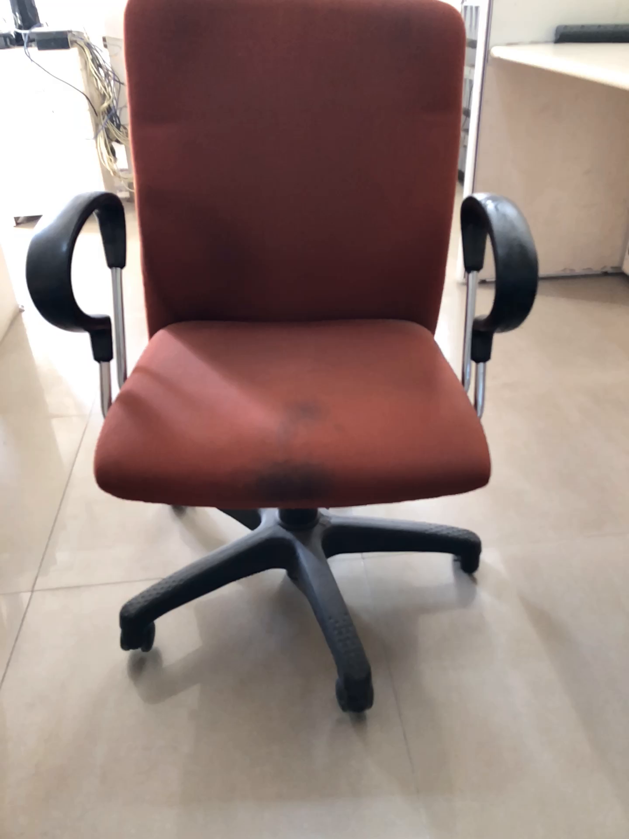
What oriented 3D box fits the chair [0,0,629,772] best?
[{"bbox_3d":[-0.040,-0.087,1.085,0.770,1.043,0.705,-1,32,2],"label":"chair"}]
